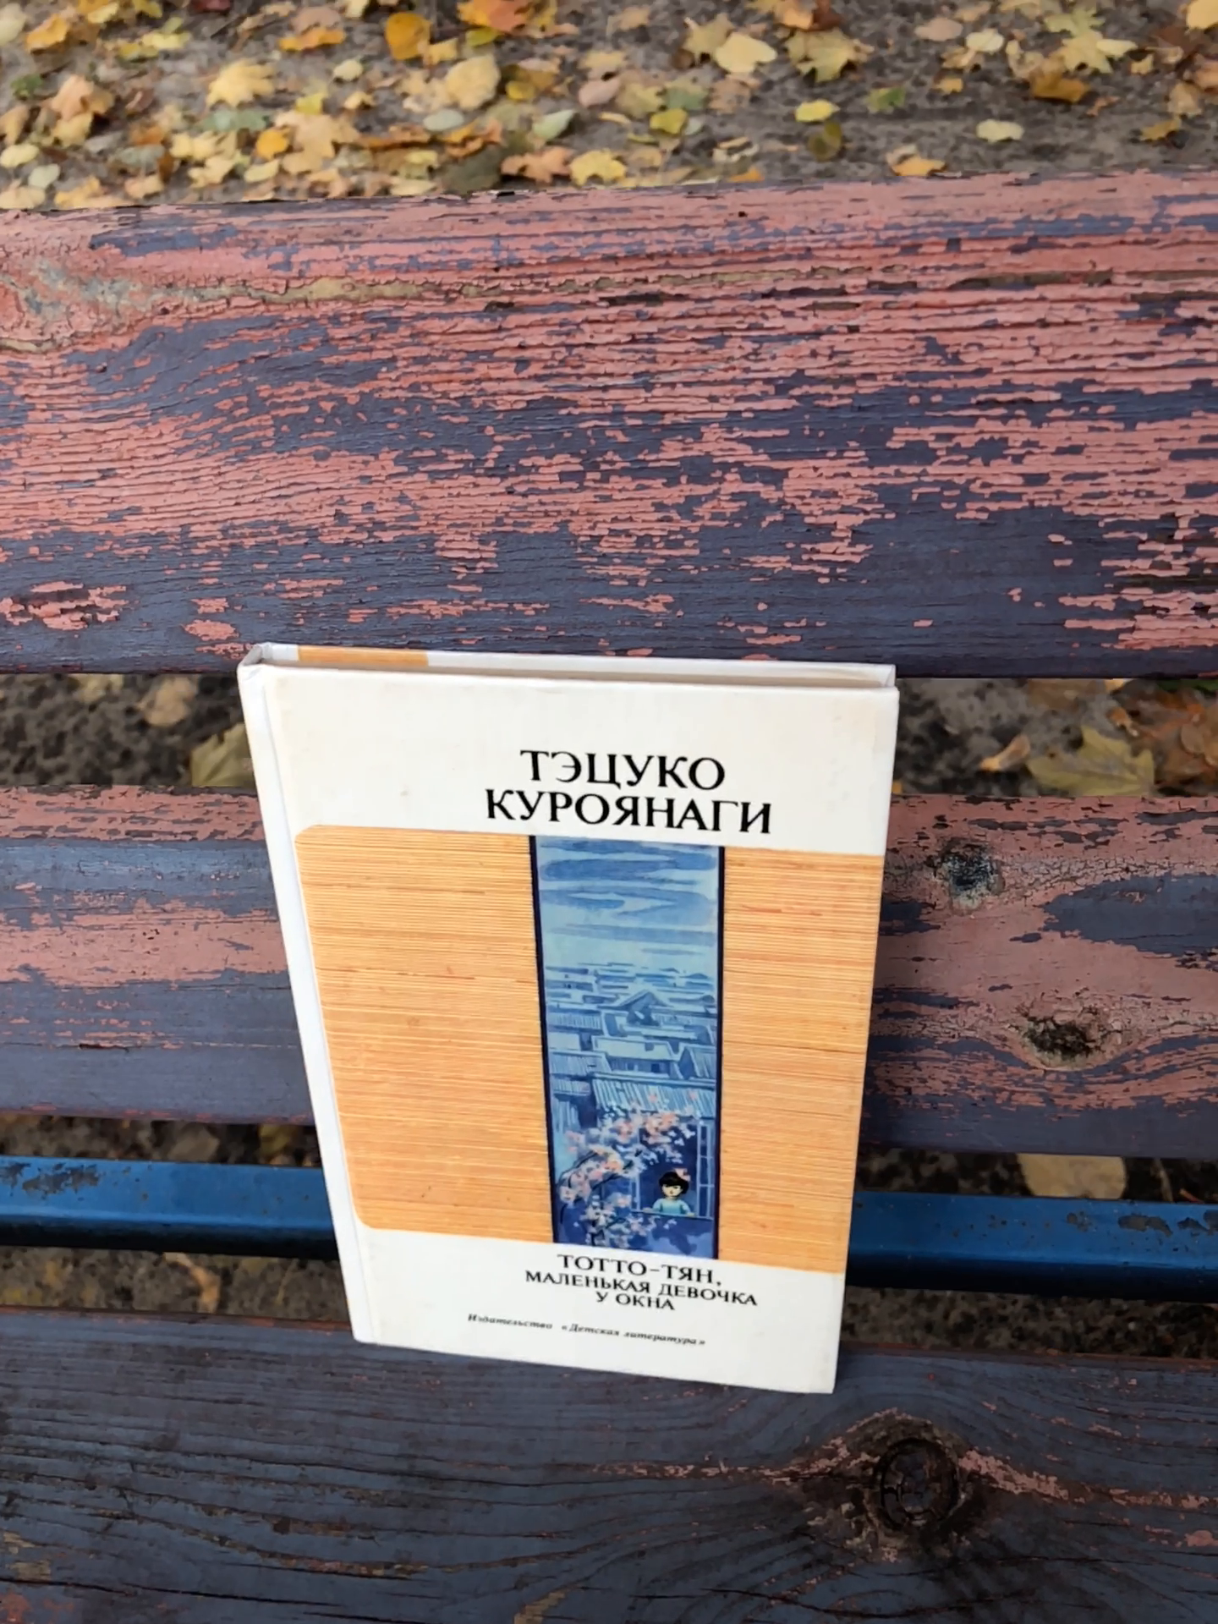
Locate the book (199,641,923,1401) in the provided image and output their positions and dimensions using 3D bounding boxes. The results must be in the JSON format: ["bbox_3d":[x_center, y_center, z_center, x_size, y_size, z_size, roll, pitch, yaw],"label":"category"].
[{"bbox_3d":[-0.009,0.058,0.305,0.134,0.198,0.016,2,31,4],"label":"book"}]
